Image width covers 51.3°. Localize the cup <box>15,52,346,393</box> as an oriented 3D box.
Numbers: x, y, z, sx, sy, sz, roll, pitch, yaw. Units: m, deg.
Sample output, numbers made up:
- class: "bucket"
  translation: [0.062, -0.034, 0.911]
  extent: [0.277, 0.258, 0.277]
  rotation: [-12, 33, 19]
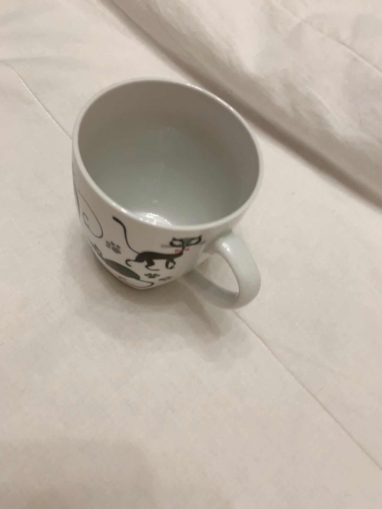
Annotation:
- class: "cup"
  translation: [-0.013, -0.016, 0.188]
  extent: [0.081, 0.077, 0.119]
  rotation: [-25, 70, -24]
